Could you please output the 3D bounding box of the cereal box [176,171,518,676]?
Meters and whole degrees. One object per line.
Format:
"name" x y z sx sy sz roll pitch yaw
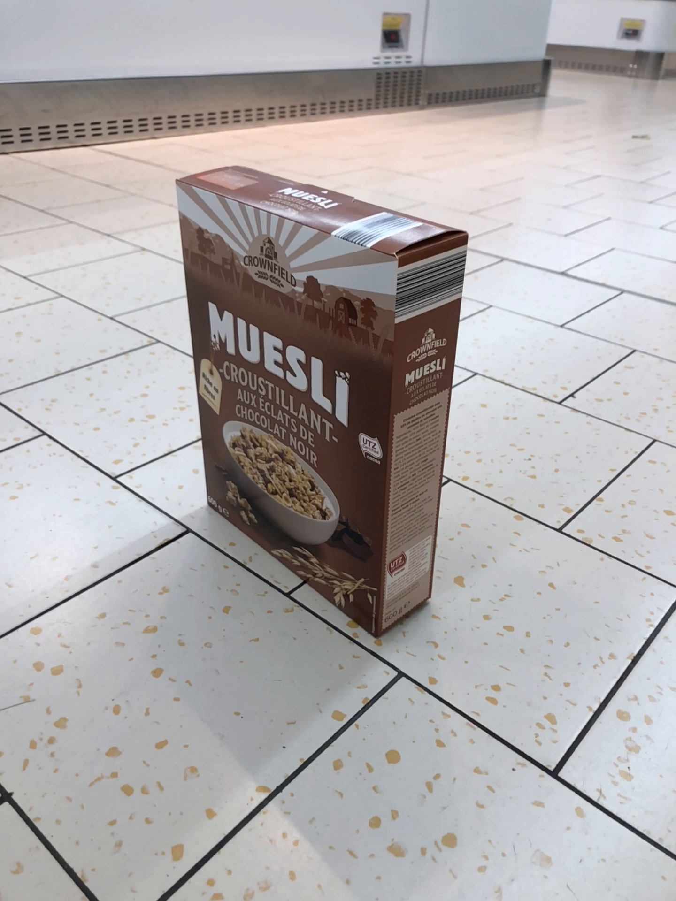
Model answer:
"cereal box" -0.011 -0.025 0.456 0.070 0.239 0.200 -21 38 -35
